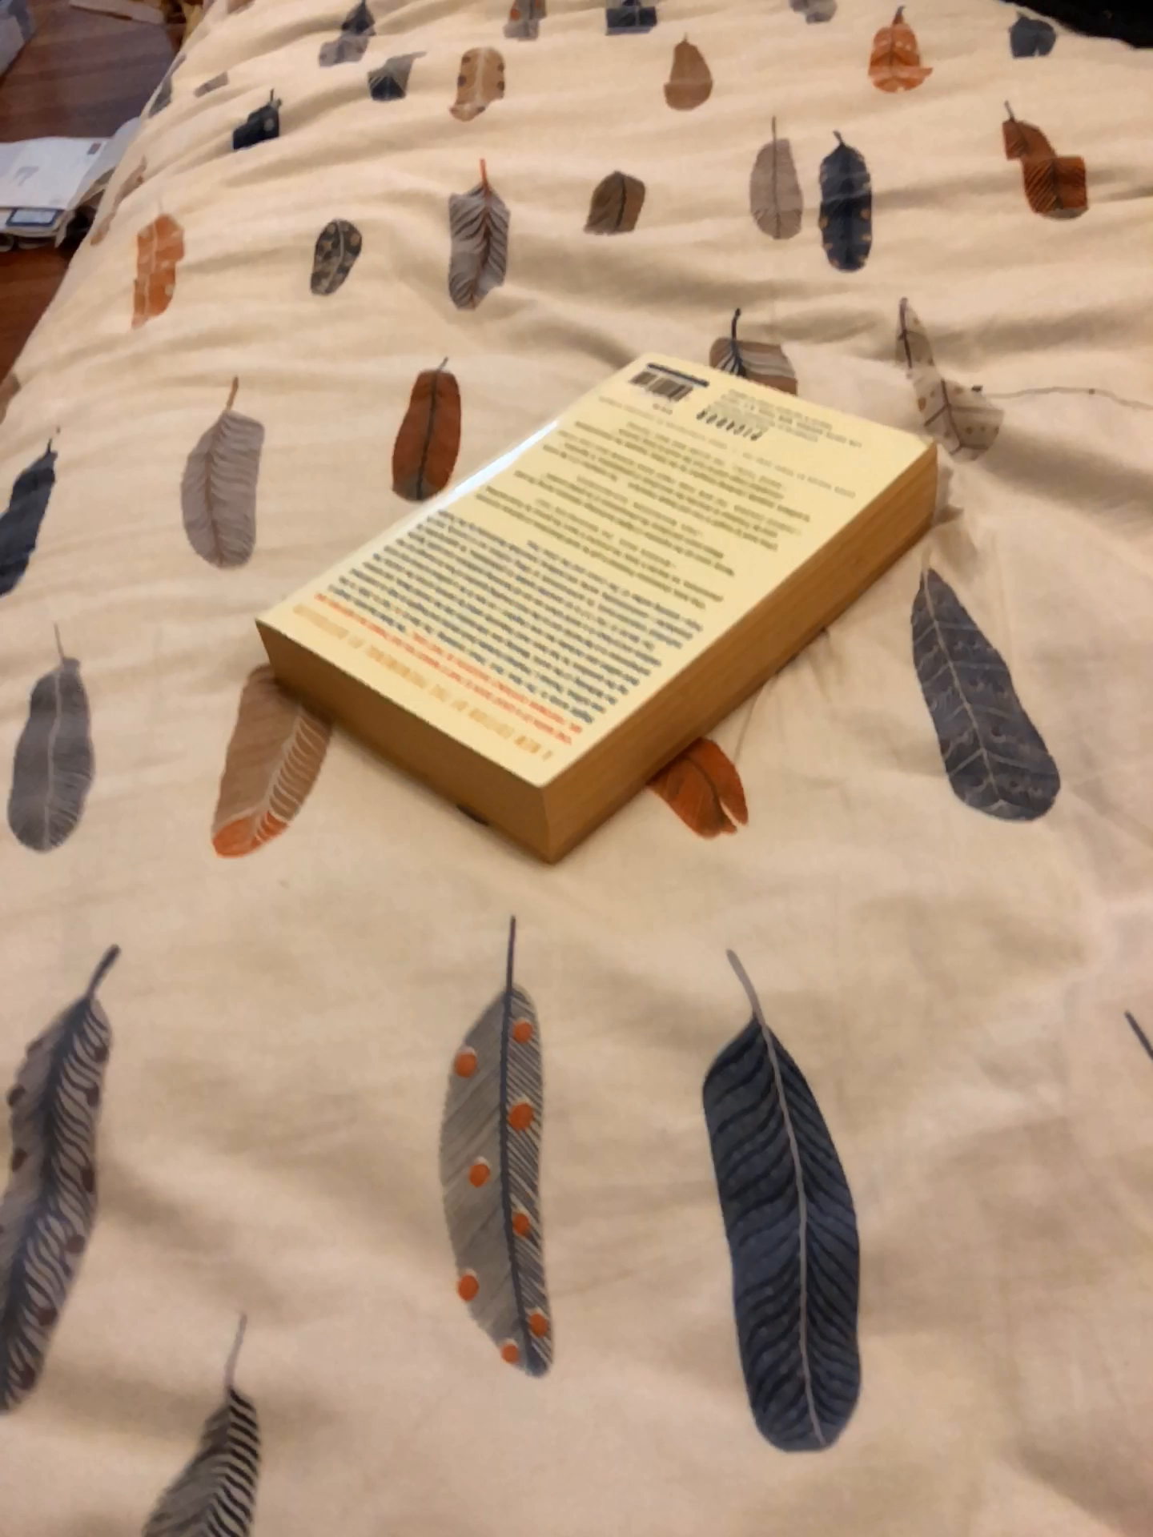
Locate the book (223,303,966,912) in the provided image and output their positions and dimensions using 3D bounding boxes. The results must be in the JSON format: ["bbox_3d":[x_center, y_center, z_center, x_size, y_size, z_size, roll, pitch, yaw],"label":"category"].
[{"bbox_3d":[0.012,-0.073,0.452,0.150,0.040,0.221,31,60,27],"label":"book"}]
